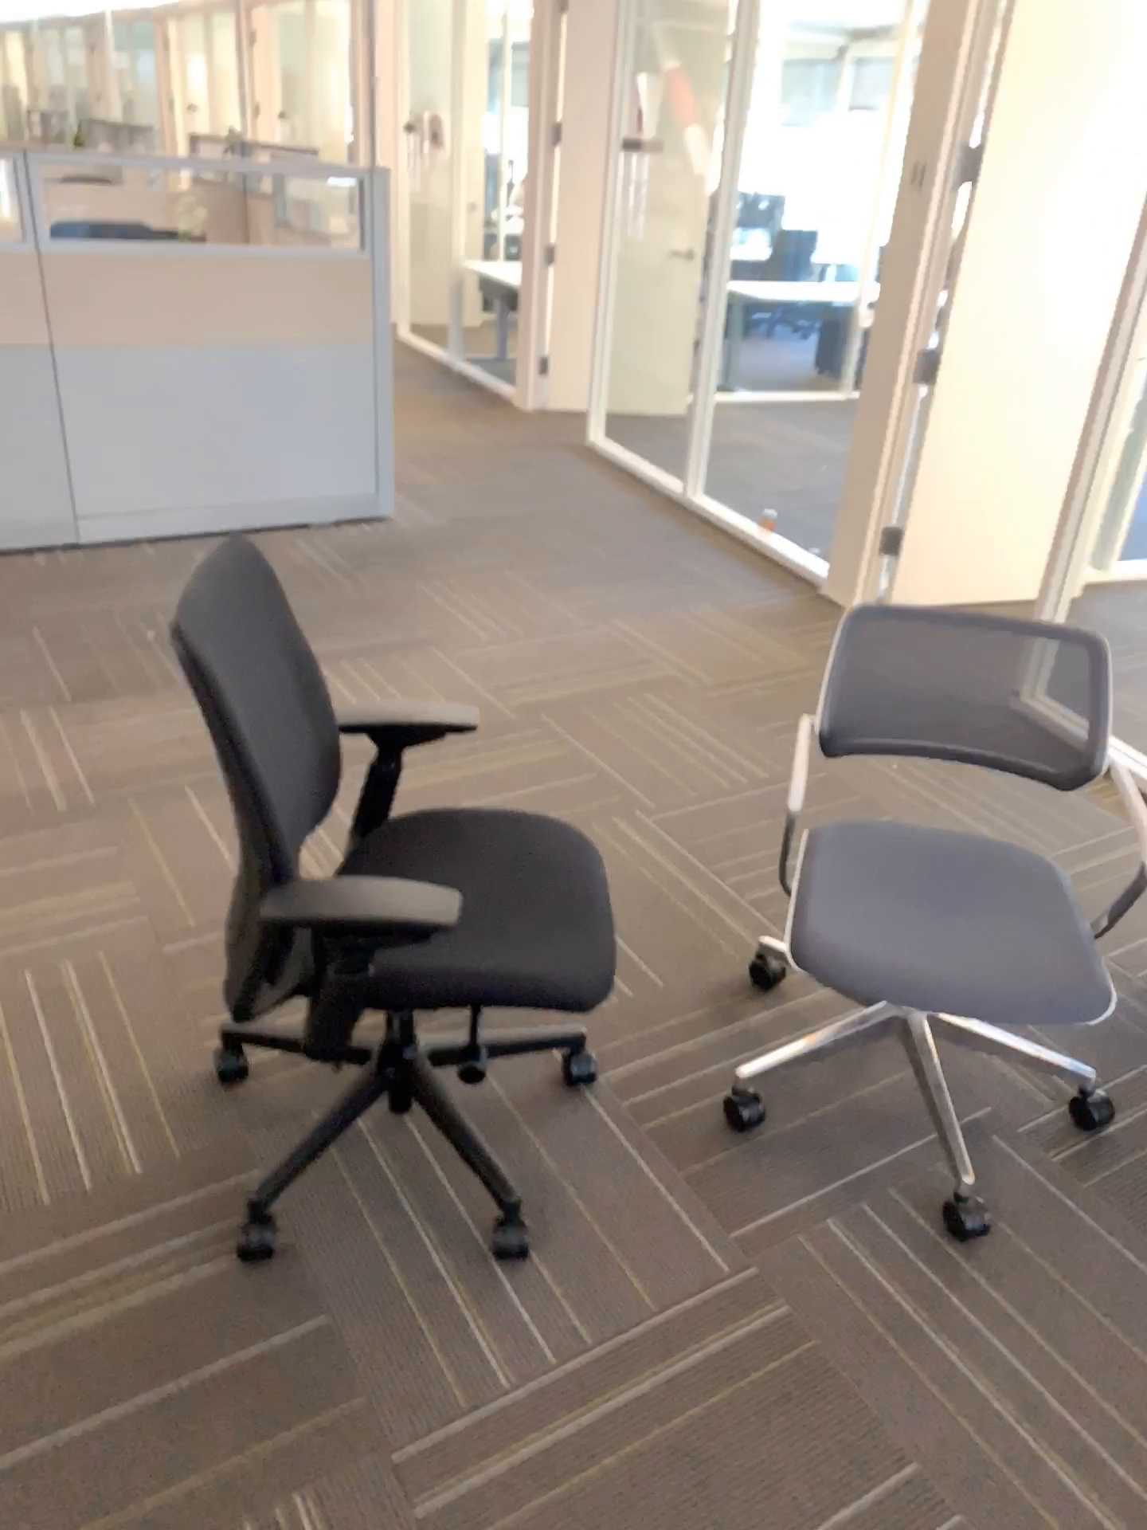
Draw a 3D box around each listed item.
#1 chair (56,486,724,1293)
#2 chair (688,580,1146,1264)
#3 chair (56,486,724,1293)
[{"bbox_3d":[-0.269,0.138,1.812,0.710,0.915,0.825,0,28,-9],"label":"chair"},{"bbox_3d":[0.606,0.215,1.955,0.730,0.775,0.754,6,28,3],"label":"chair"},{"bbox_3d":[-0.269,0.138,1.812,0.710,0.915,0.825,0,28,-9],"label":"chair"}]
